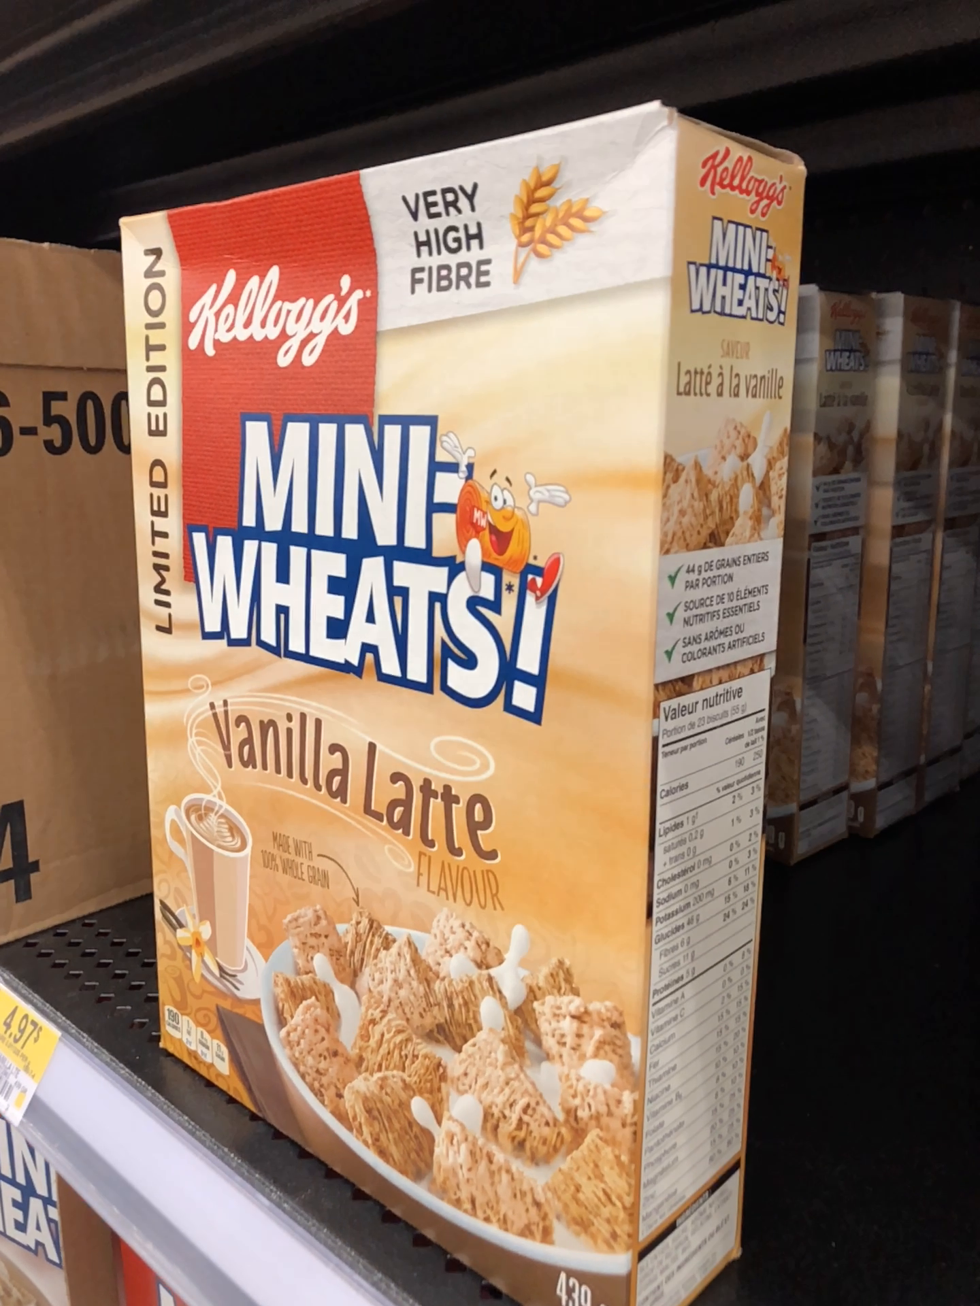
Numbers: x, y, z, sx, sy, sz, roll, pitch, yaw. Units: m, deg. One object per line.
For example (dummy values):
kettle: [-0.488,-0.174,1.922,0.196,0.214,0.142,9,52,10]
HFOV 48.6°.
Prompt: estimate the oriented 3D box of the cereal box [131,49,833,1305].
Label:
cereal box: [-0.017,0.014,0.300,0.190,0.279,0.060,10,14,43]
